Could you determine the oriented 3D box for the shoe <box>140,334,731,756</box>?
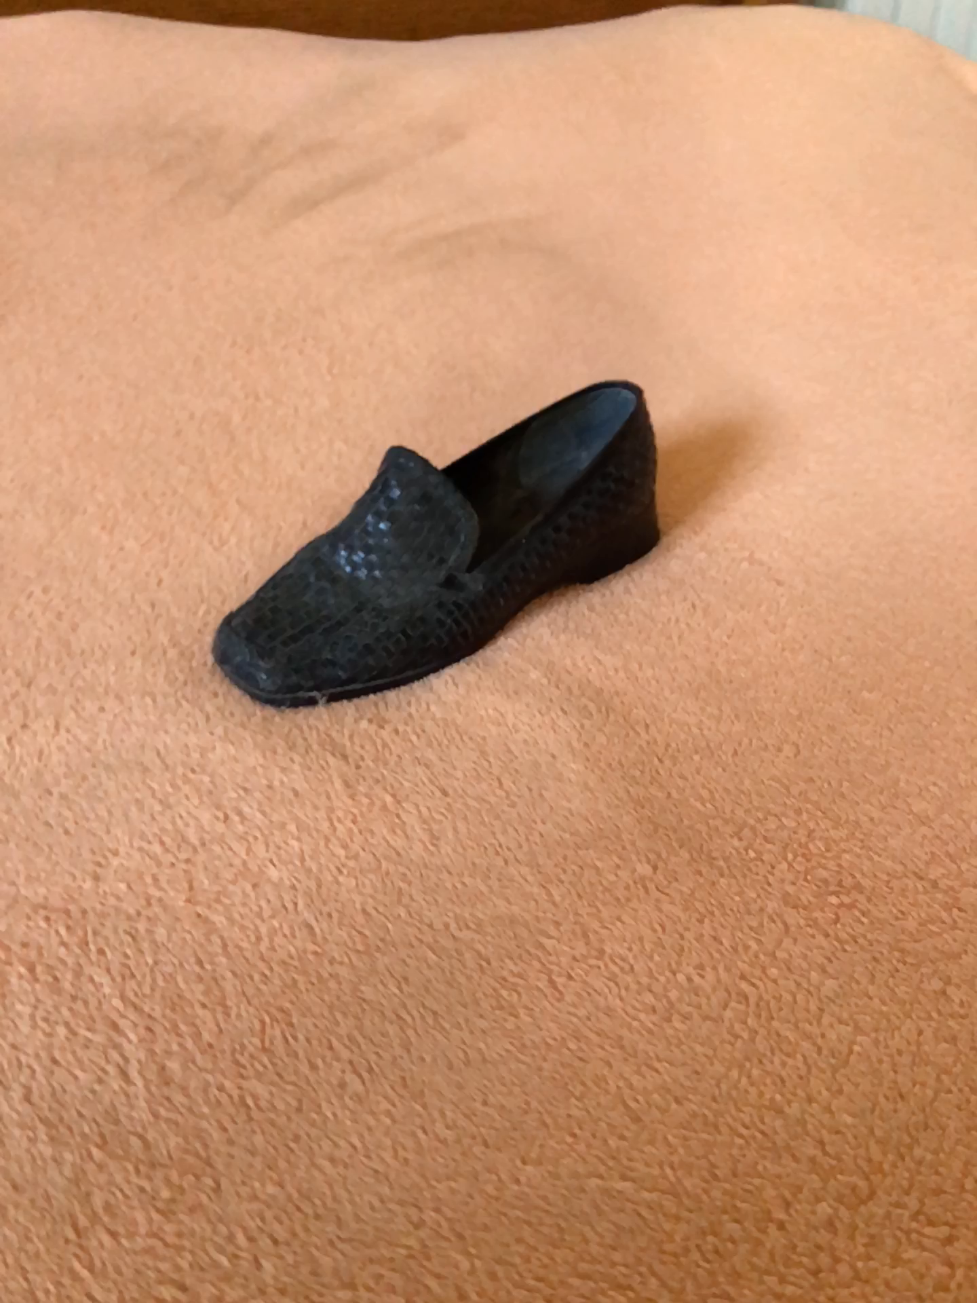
[{"bbox_3d":[-0.015,-0.066,0.535,0.271,0.089,0.100,-26,44,-29],"label":"shoe"}]
